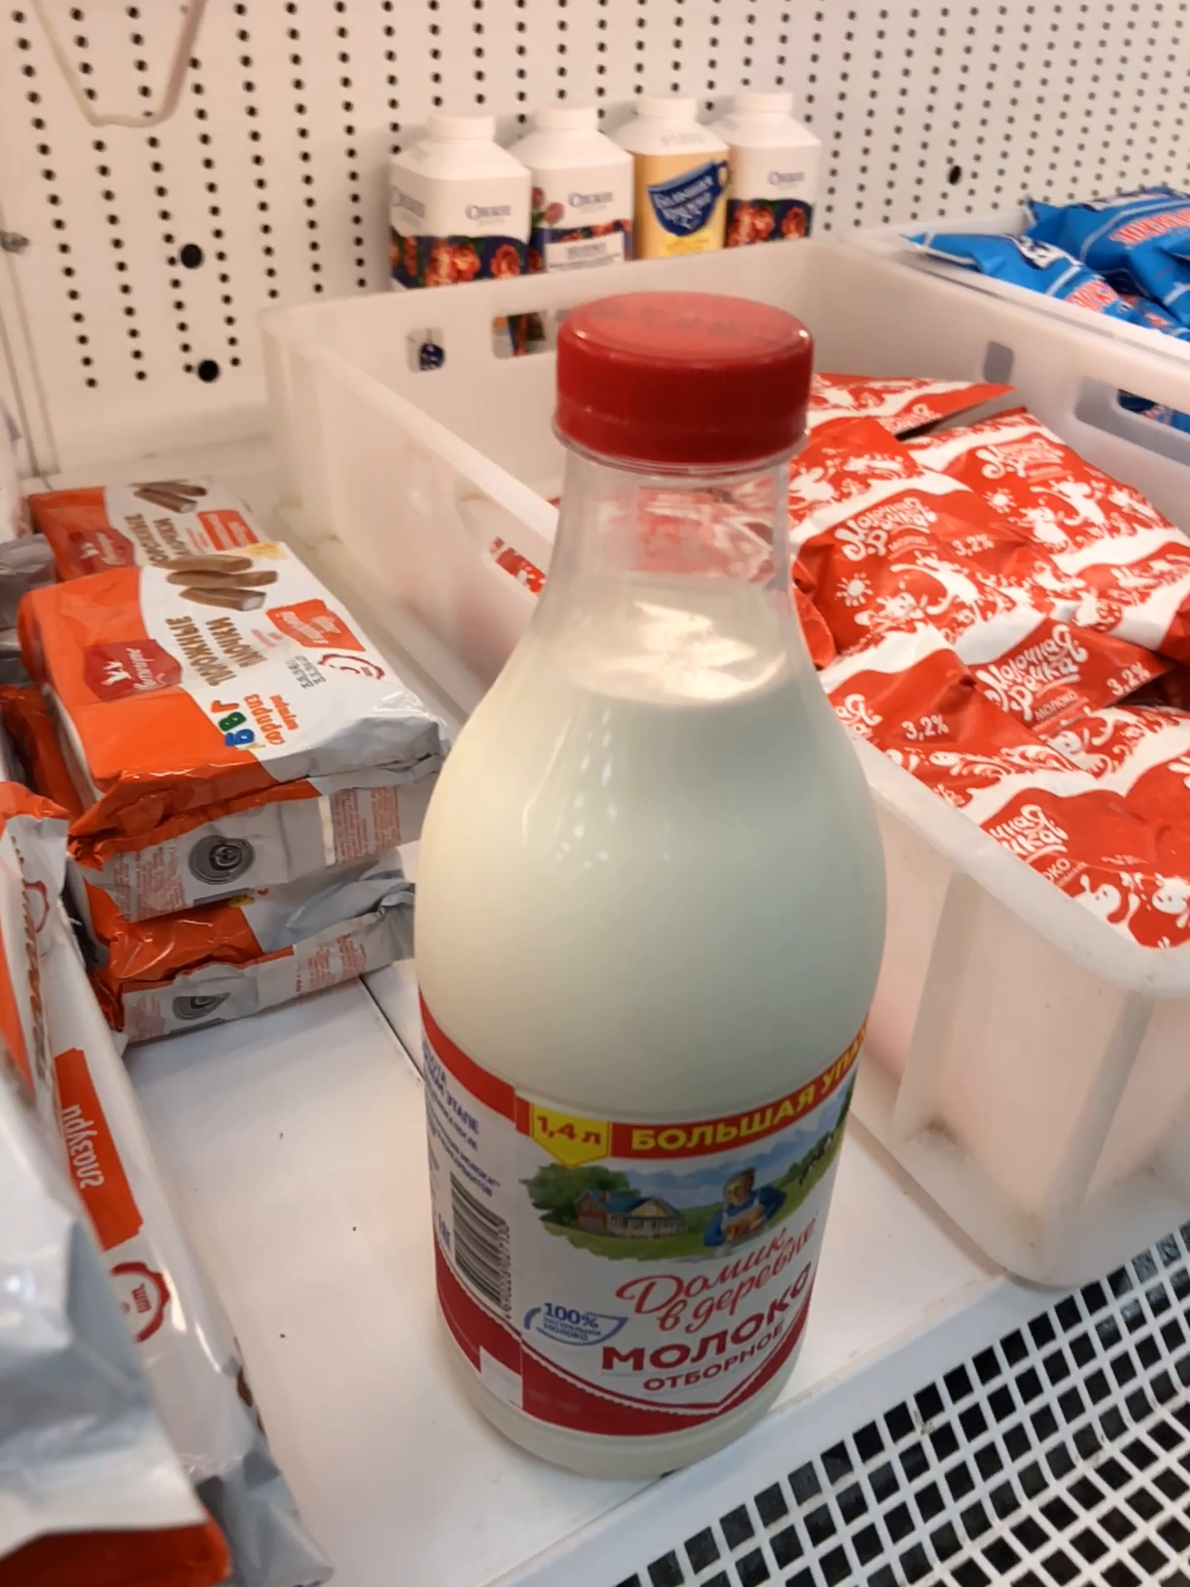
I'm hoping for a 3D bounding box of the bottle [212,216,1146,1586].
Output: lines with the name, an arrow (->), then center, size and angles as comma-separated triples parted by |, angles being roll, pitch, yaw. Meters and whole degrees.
bottle -> 0.005, 0.041, 0.277 | 0.110, 0.278, 0.090 | -15, 38, -22
